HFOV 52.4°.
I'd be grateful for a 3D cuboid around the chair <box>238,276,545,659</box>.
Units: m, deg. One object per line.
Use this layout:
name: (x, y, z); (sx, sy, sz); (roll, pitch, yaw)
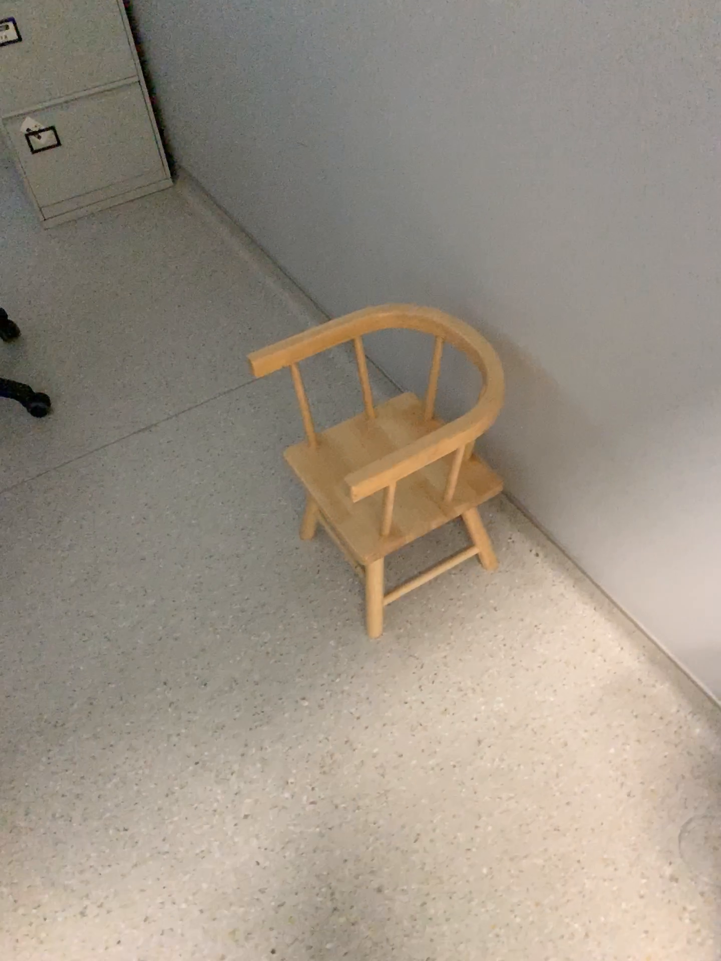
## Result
chair: (0.056, -0.018, 1.313); (0.343, 0.481, 0.364); (-24, 50, -14)
